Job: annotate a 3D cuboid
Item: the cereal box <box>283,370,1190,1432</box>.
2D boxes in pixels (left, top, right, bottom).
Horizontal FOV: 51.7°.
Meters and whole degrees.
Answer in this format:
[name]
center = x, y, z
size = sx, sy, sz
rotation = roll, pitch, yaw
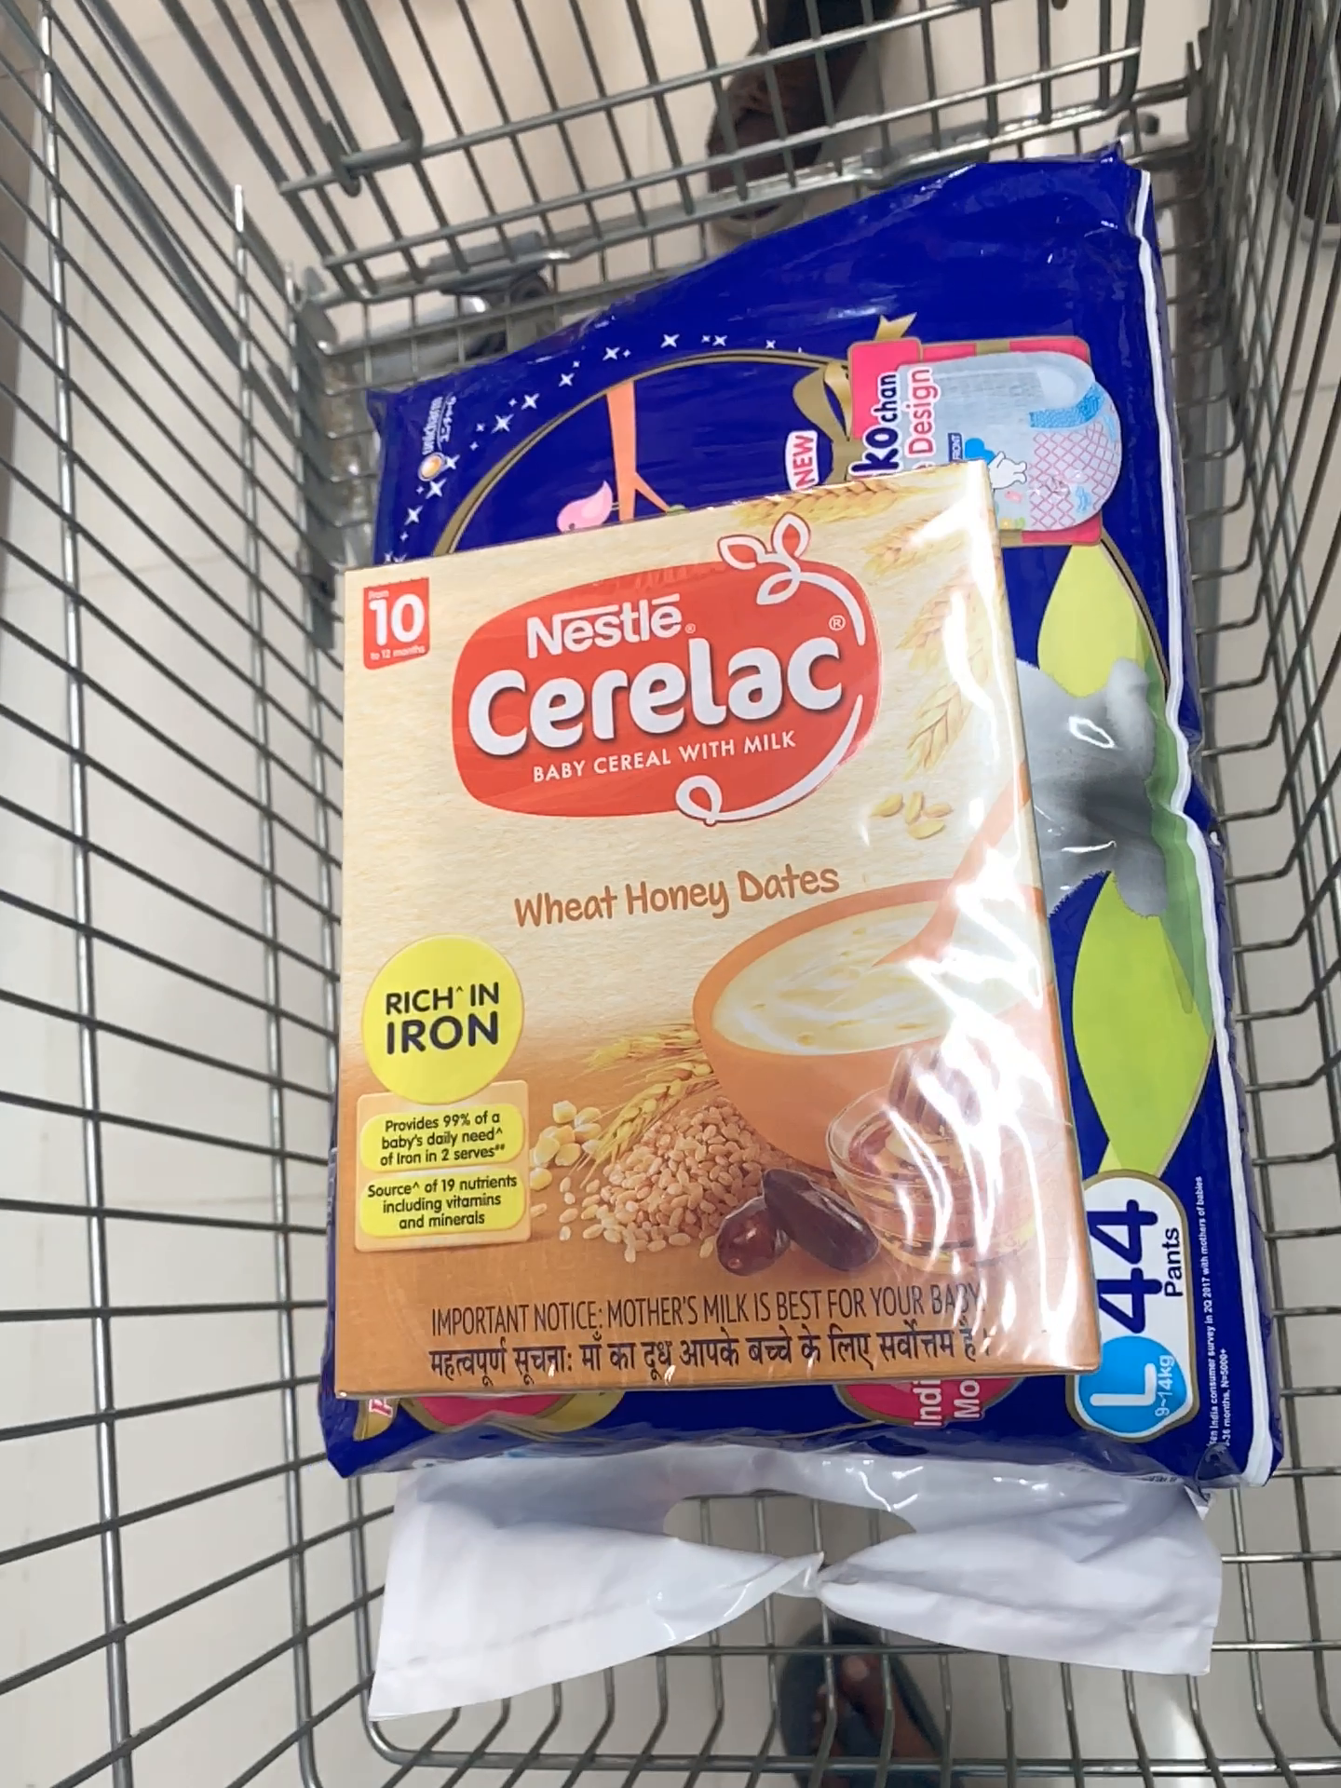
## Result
[cereal box]
center = 0.007, 0.006, 0.291
size = 0.160, 0.060, 0.190
rotation = -7, 75, 13
